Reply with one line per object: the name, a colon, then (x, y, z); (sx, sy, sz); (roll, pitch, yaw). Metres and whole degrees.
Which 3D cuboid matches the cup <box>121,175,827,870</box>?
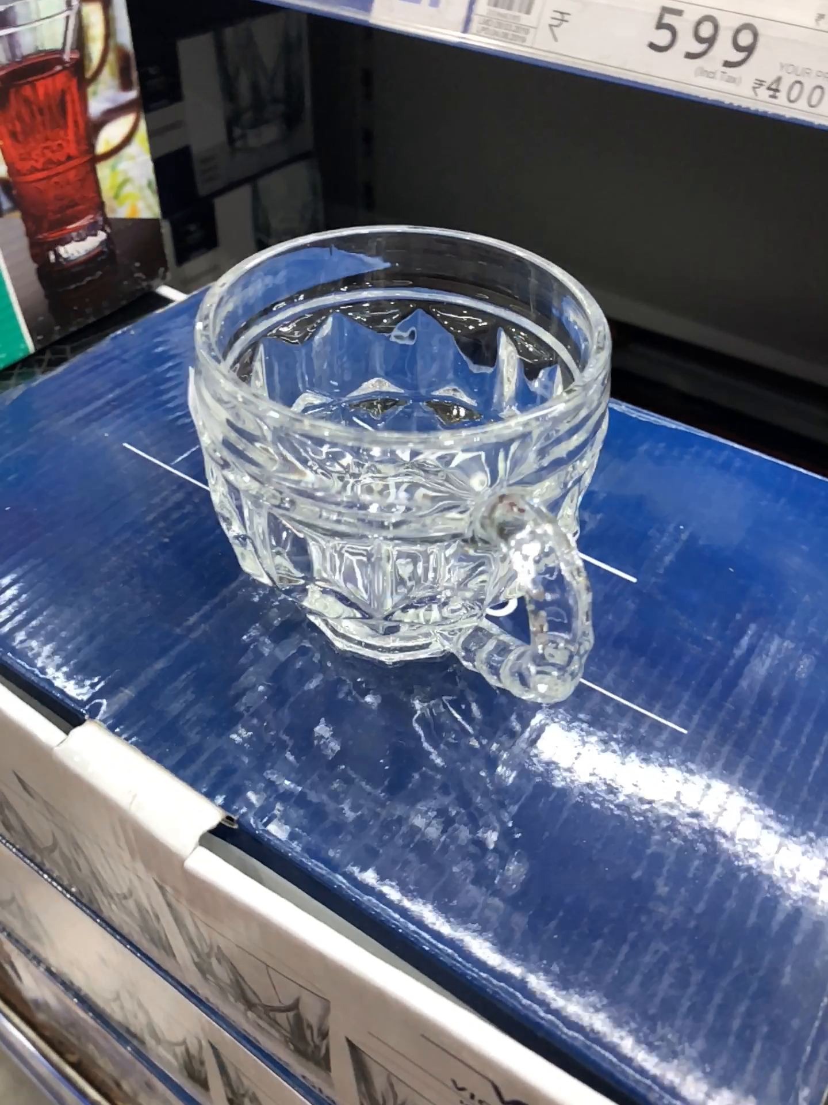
cup: (0.005, -0.017, 0.180); (0.090, 0.060, 0.110); (-15, 45, -18)
